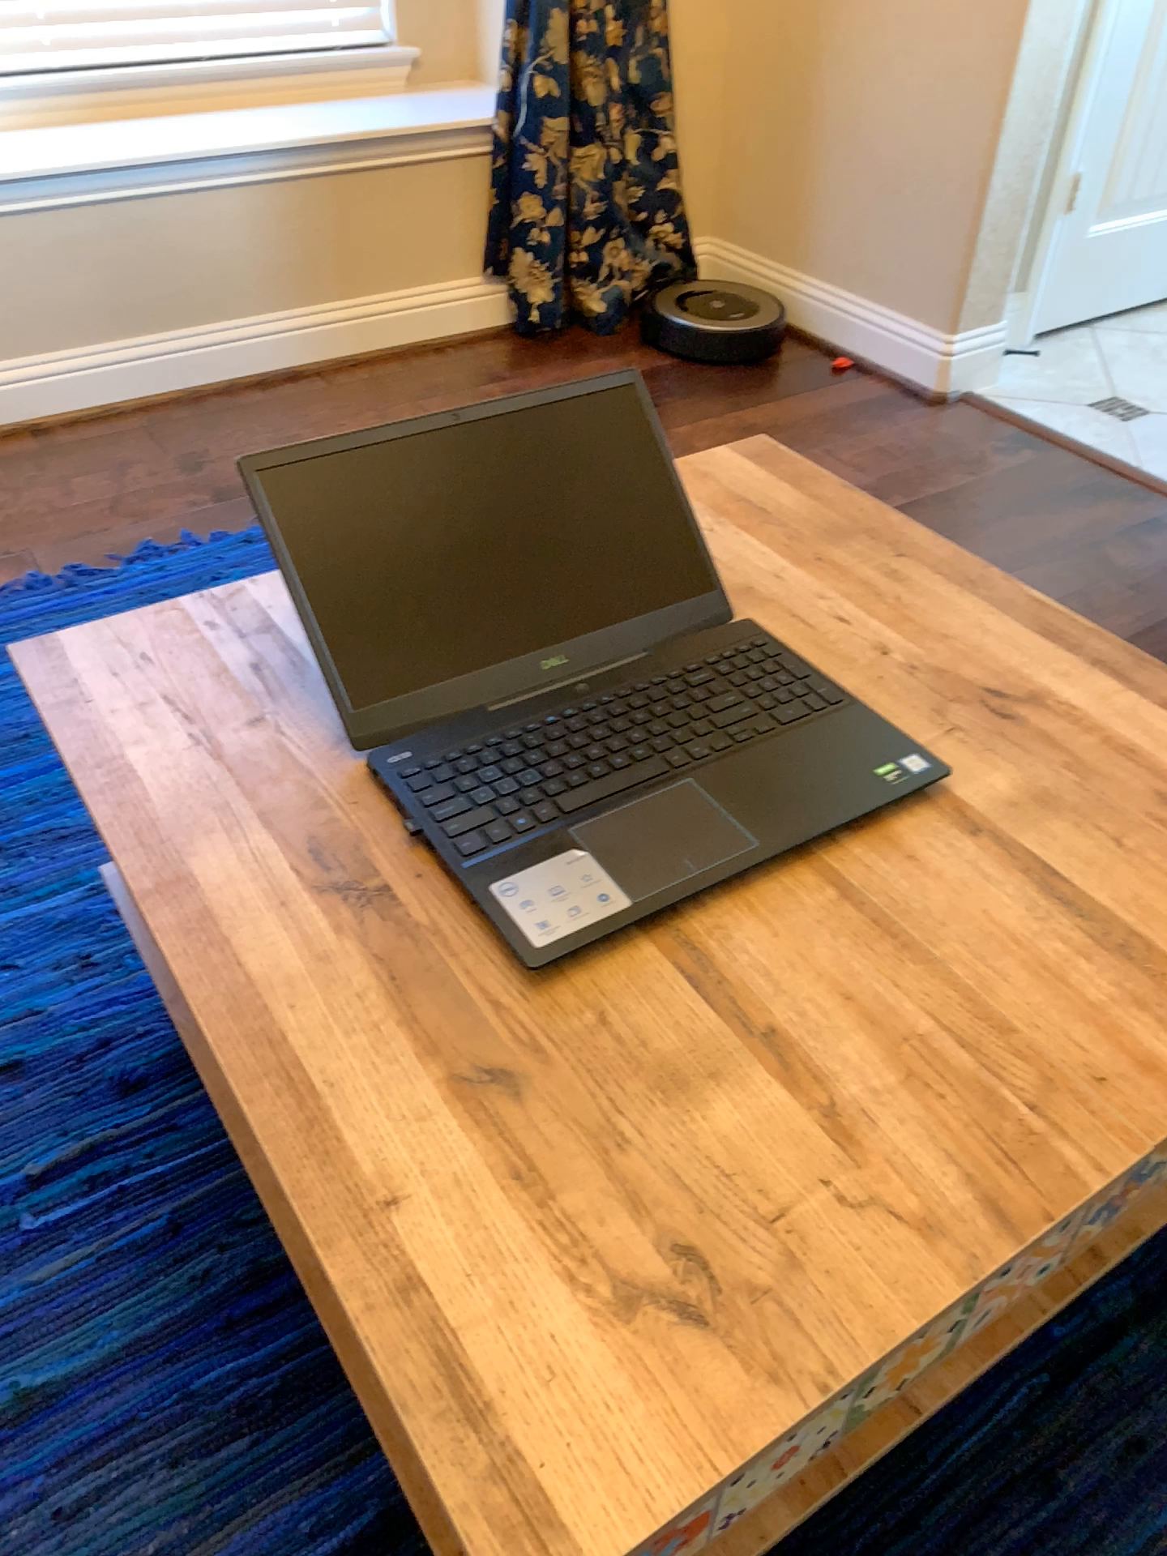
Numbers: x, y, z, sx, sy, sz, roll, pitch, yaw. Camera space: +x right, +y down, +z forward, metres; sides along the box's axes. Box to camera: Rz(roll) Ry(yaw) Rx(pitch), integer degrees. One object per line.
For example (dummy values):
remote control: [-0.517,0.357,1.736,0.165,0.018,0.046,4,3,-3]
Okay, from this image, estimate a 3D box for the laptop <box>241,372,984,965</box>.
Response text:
laptop: [-0.001,-0.120,0.879,0.346,0.156,0.419,-22,45,-25]
